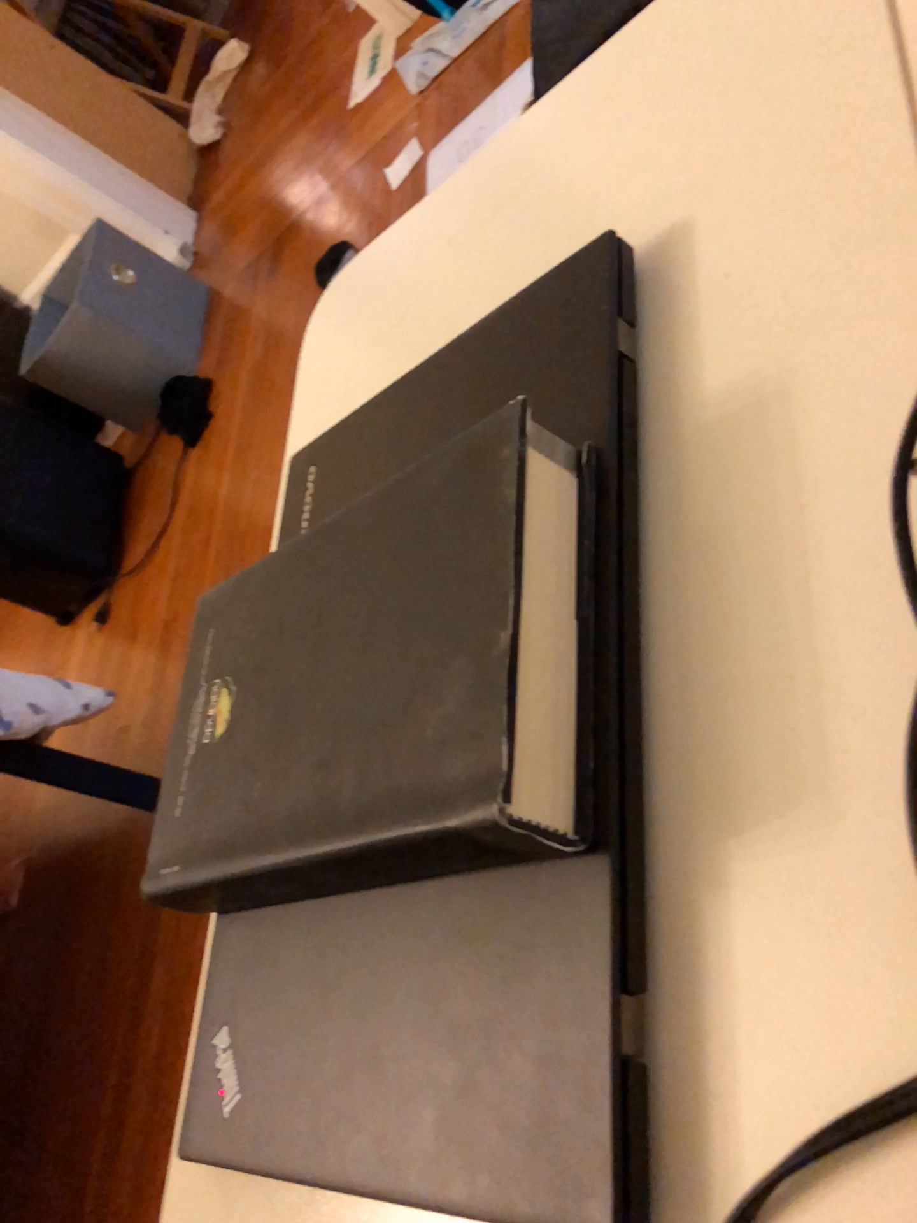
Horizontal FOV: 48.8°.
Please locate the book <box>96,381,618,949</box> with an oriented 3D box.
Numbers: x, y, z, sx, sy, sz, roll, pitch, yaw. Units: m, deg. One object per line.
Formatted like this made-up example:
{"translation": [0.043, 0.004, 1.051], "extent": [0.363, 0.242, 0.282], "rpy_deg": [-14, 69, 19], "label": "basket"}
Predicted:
{"translation": [-0.046, 0.036, 0.366], "extent": [0.231, 0.040, 0.150], "rpy_deg": [-22, 54, 43], "label": "book"}
